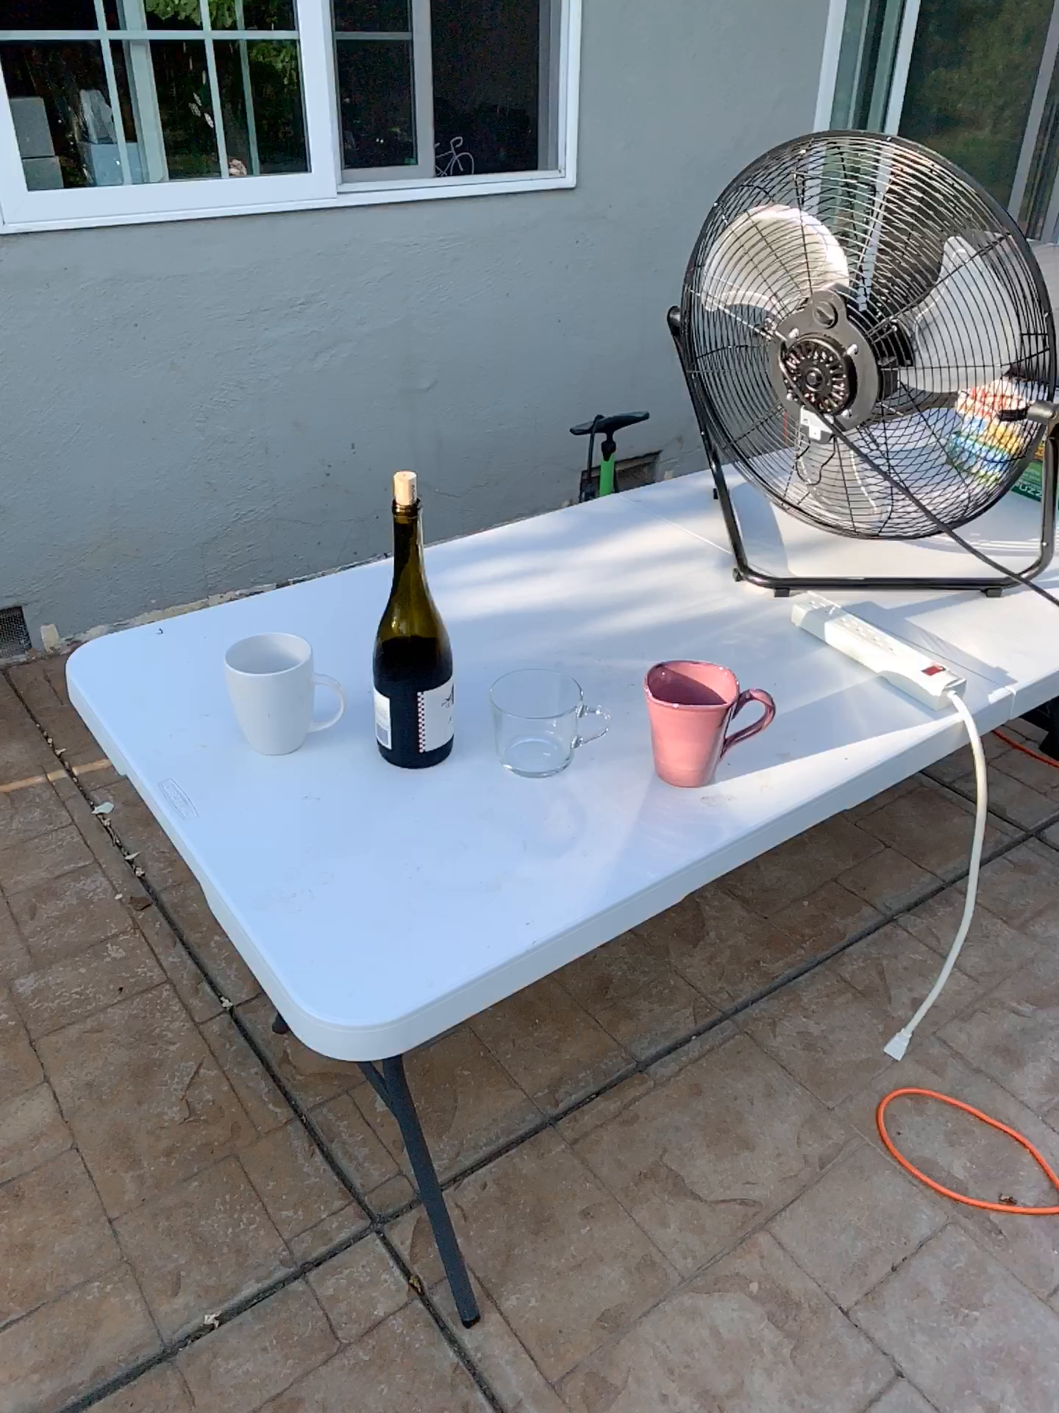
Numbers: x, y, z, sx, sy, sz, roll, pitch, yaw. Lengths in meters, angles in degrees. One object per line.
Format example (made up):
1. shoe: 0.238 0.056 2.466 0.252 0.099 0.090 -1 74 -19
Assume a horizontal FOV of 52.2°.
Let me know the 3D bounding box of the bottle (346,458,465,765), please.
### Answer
1. bottle: -0.122 -0.093 1.127 0.100 0.303 0.103 1 32 0
